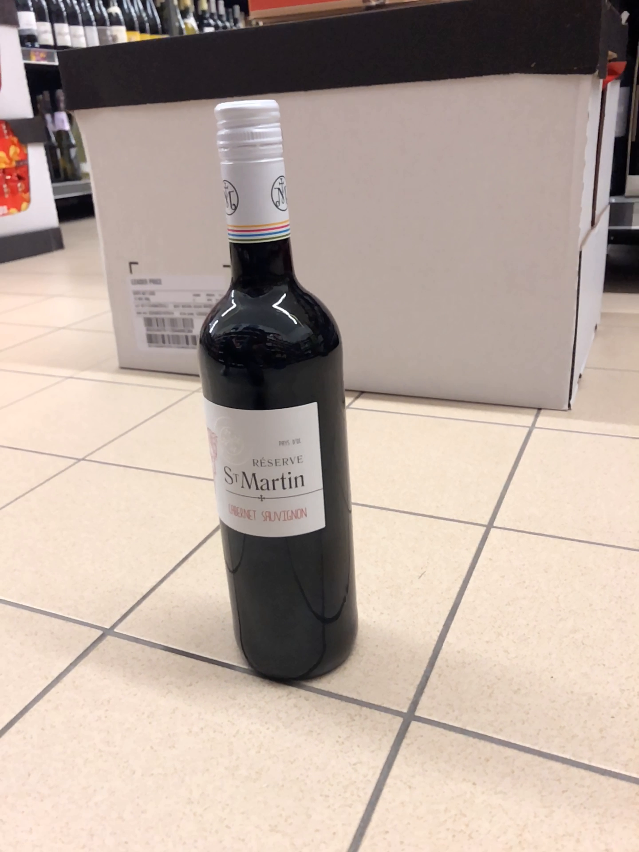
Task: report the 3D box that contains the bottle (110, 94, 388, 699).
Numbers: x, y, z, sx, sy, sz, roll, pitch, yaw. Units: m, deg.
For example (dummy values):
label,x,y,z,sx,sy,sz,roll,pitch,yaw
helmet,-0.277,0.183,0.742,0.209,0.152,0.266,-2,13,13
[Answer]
label,x,y,z,sx,sy,sz,roll,pitch,yaw
bottle,-0.023,-0.009,0.368,0.090,0.289,0.080,6,24,22
